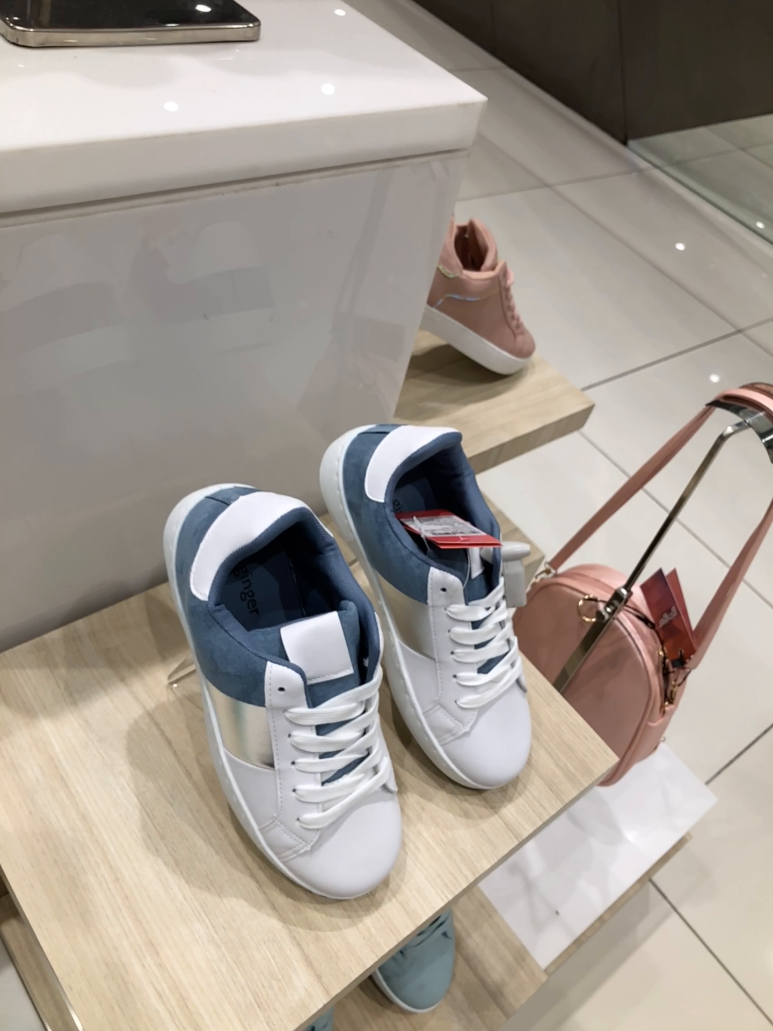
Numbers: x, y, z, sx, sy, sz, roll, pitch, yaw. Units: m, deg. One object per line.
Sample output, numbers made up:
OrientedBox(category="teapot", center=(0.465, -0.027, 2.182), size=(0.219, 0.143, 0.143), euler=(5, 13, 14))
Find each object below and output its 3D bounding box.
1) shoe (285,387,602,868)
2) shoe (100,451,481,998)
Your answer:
OrientedBox(category="shoe", center=(0.040, 0.063, 0.542), size=(0.102, 0.262, 0.103), euler=(-24, 17, -34))
OrientedBox(category="shoe", center=(-0.048, 0.105, 0.470), size=(0.092, 0.260, 0.103), euler=(-27, 17, -36))
